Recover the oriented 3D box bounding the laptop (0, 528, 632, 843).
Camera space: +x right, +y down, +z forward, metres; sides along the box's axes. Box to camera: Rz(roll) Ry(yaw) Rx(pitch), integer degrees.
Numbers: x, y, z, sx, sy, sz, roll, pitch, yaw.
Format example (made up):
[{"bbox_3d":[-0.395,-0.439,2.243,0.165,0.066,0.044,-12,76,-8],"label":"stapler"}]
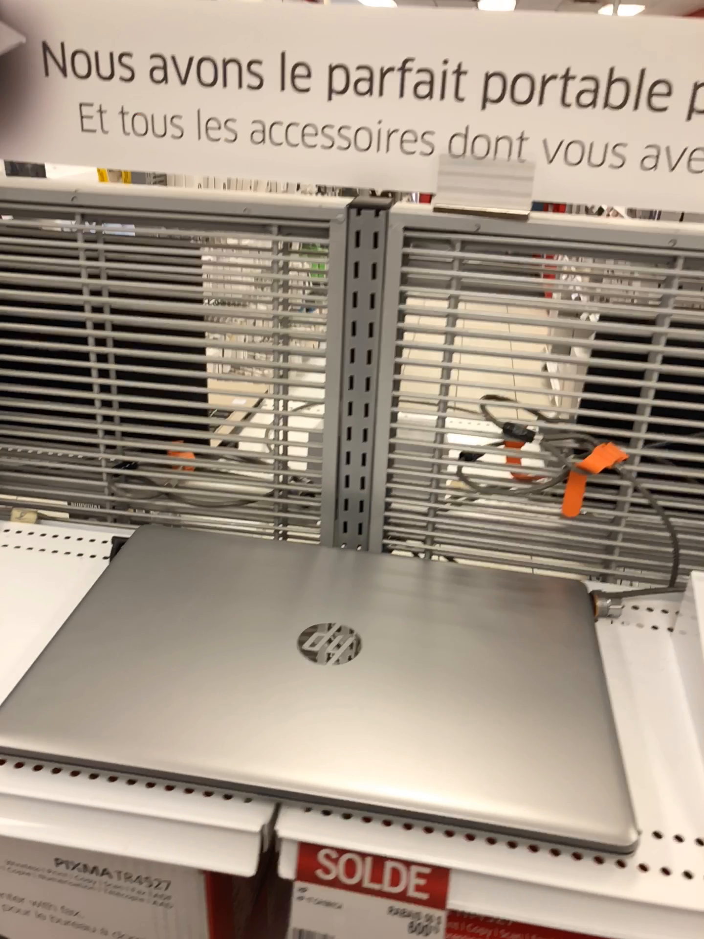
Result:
[{"bbox_3d":[-0.017,0.141,0.613,0.416,0.002,0.278,6,26,7],"label":"laptop"}]
